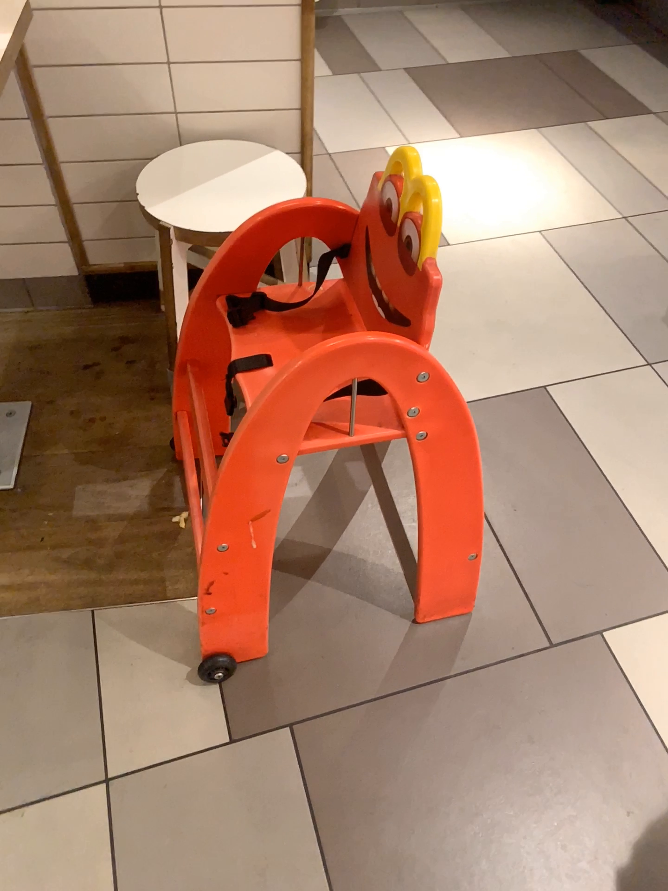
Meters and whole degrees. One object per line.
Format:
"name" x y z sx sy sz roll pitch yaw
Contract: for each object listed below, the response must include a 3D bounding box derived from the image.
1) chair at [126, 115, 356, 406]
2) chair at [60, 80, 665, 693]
"chair" -0.192 -0.384 1.443 0.370 0.446 0.323 -12 52 -12
"chair" -0.029 -0.086 1.074 0.580 0.654 0.585 -12 52 -12
